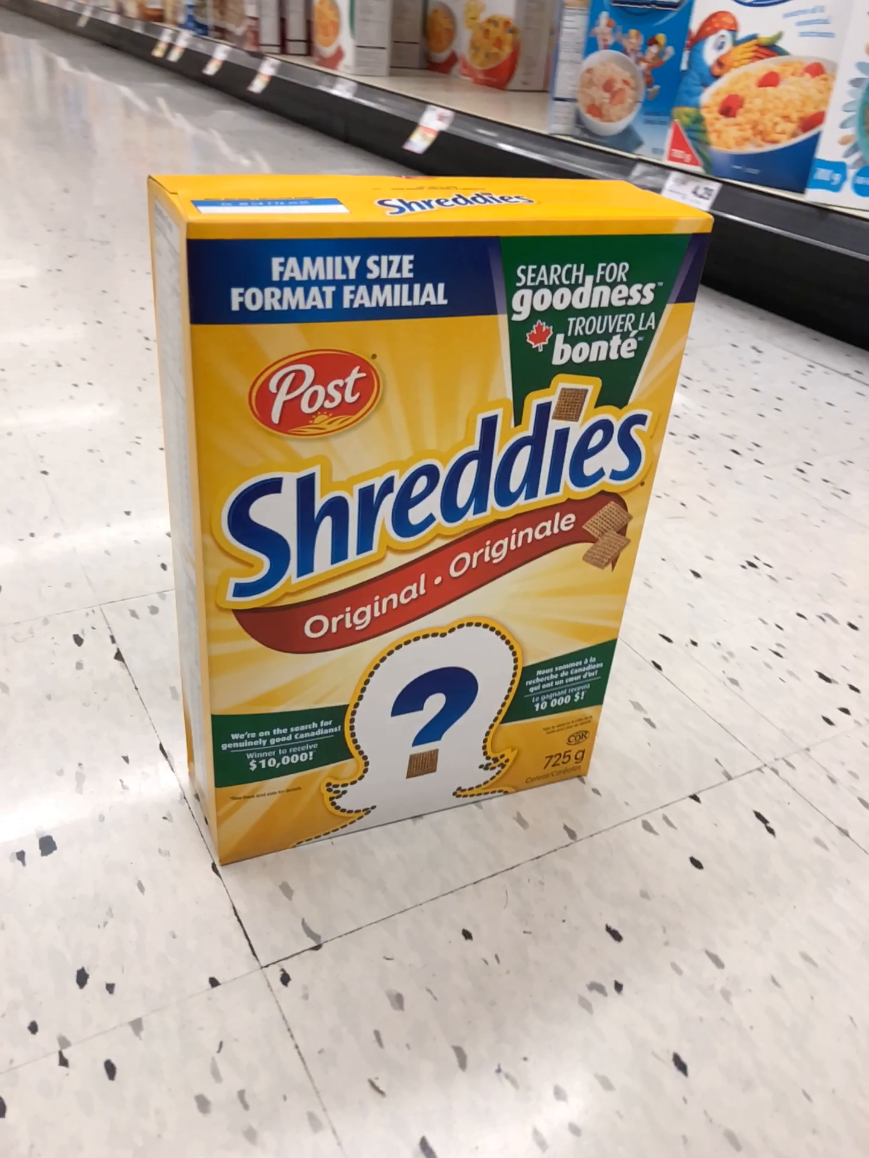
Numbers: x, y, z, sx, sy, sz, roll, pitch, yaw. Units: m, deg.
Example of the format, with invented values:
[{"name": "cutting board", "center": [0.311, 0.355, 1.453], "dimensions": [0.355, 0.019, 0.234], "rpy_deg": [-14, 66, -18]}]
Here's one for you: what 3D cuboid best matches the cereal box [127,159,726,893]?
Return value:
[{"name": "cereal box", "center": [-0.015, -0.013, 0.440], "dimensions": [0.210, 0.318, 0.070], "rpy_deg": [-9, 37, -22]}]
